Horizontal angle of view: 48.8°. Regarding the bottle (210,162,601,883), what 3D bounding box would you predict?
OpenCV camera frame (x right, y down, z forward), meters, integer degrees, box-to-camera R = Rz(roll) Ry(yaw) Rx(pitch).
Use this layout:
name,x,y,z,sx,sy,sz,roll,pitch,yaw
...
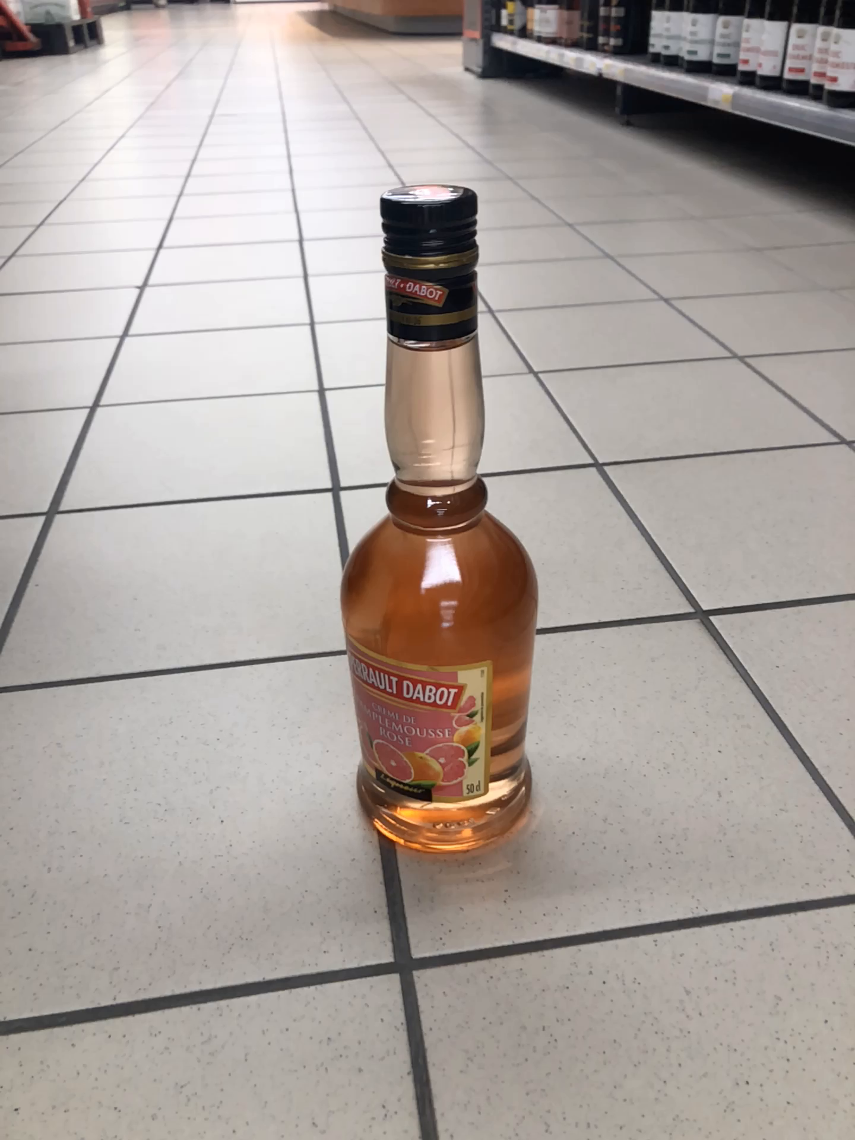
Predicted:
name,x,y,z,sx,sy,sz,roll,pitch,yaw
bottle,-0.002,-0.013,0.346,0.090,0.239,0.081,16,34,27
